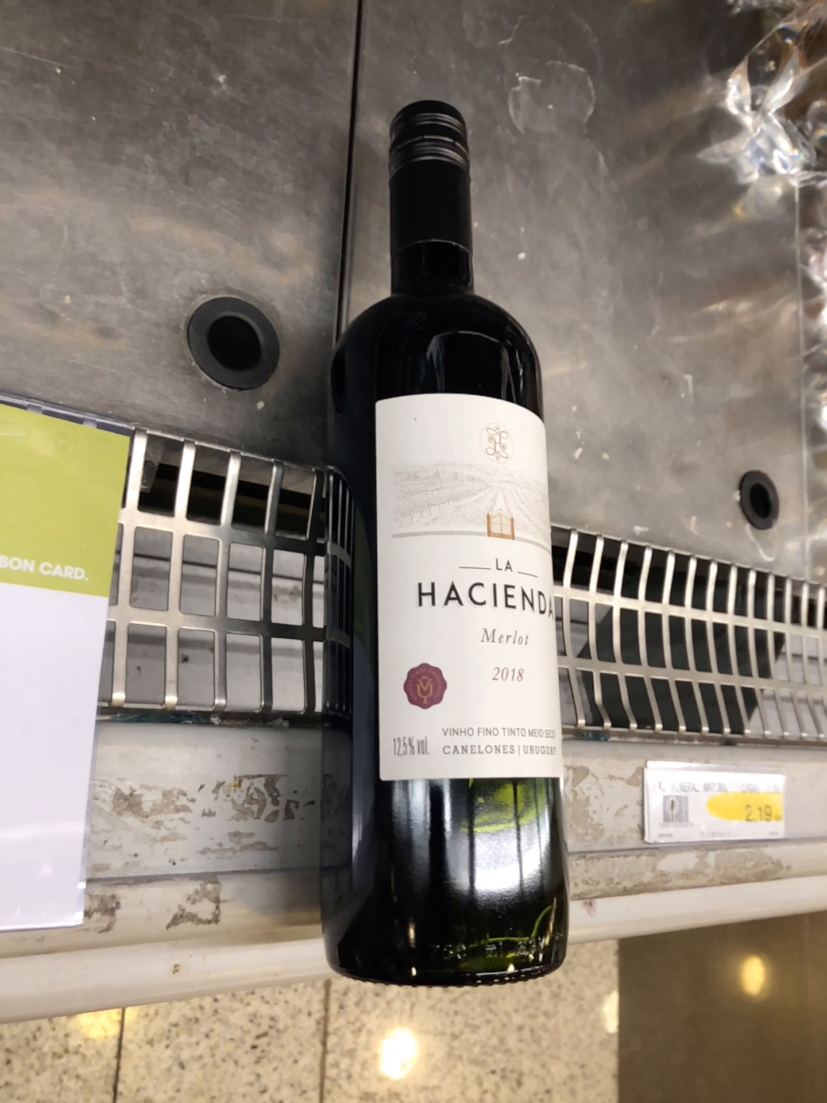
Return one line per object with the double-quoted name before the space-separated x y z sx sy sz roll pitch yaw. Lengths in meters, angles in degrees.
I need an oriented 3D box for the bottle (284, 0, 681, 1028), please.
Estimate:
"bottle" 0.015 -0.030 0.285 0.080 0.070 0.300 10 72 -35
